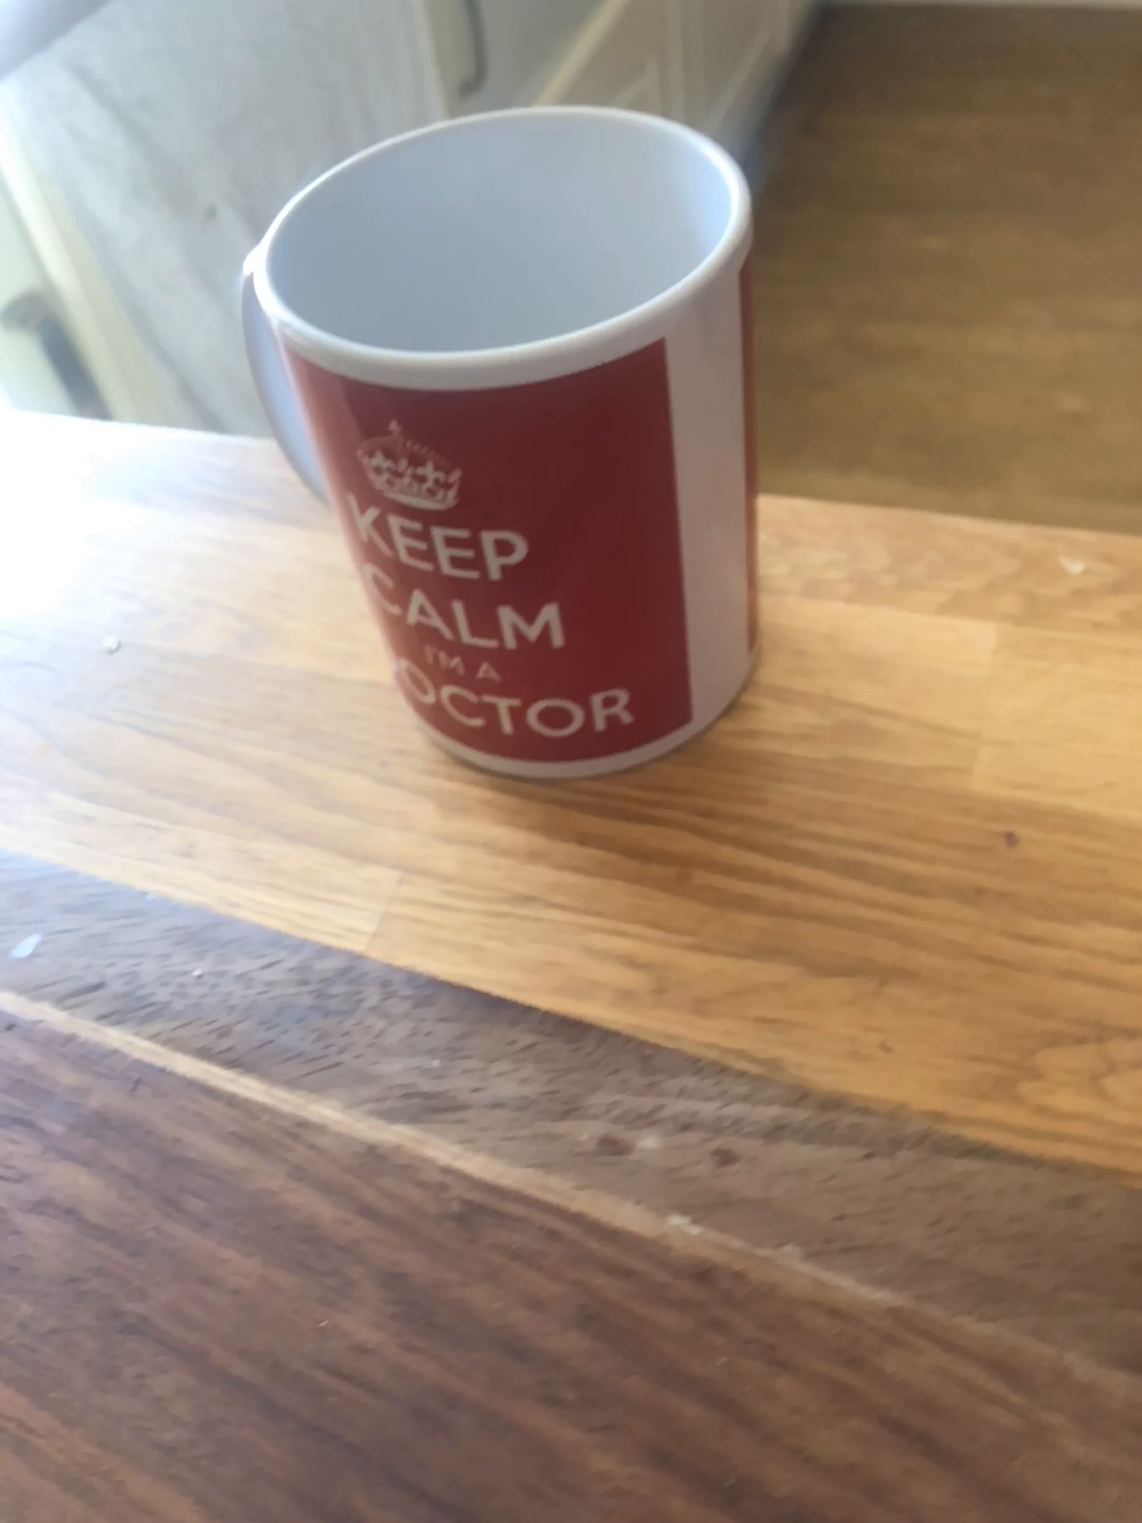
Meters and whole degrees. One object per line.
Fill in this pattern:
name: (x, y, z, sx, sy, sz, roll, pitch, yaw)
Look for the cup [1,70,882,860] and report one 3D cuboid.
cup: (-0.016, -0.062, 0.253, 0.123, 0.094, 0.090, 20, 58, 24)
